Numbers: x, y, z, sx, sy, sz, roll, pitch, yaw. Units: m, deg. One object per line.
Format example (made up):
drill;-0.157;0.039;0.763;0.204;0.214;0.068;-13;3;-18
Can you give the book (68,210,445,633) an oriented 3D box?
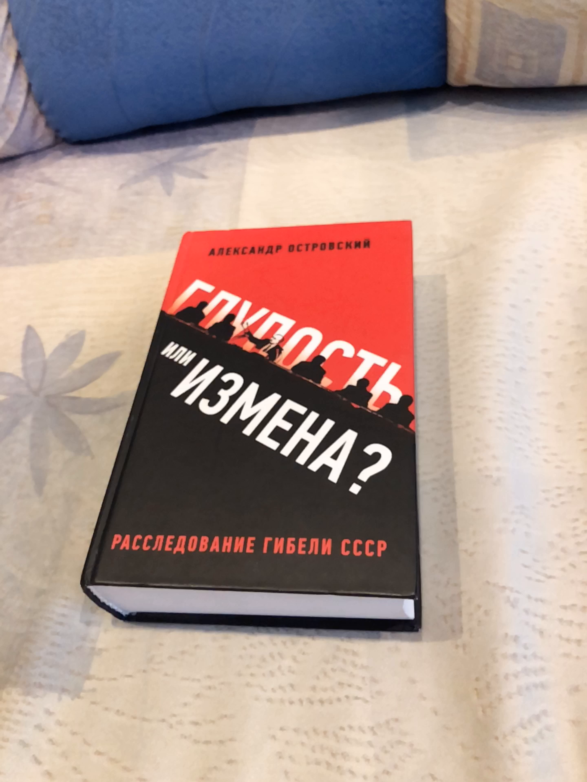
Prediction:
book;-0.005;0.002;0.309;0.135;0.050;0.201;-1;52;9
